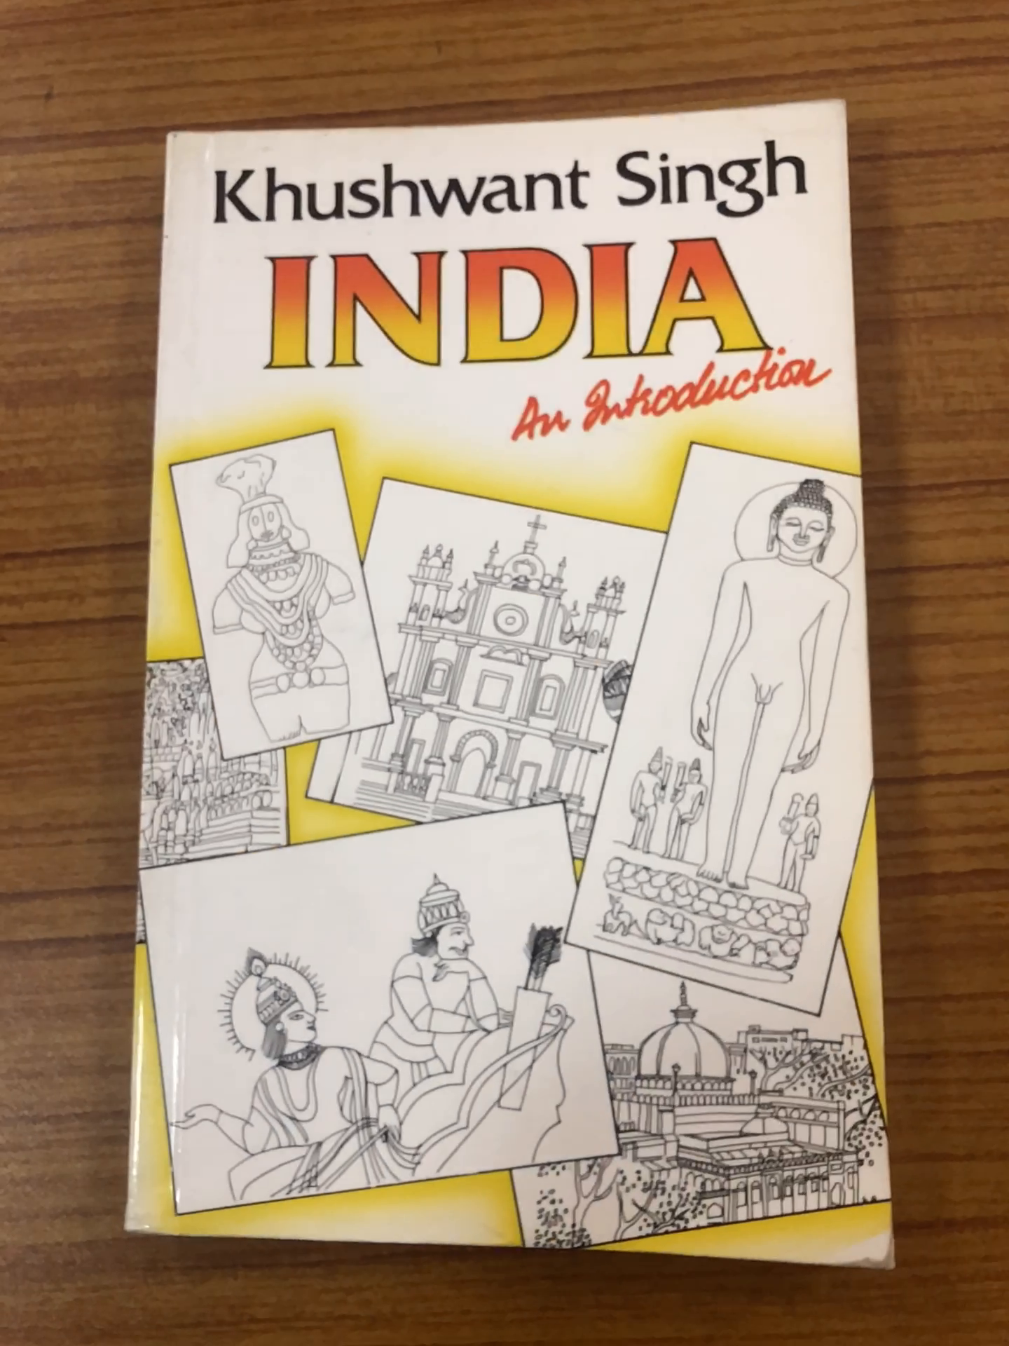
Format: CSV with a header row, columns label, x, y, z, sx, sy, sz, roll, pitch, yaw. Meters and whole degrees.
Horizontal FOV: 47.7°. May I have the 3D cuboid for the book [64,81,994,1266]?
label,x,y,z,sx,sy,sz,roll,pitch,yaw
book,0.003,-0.005,0.195,0.140,0.020,0.190,0,82,3
